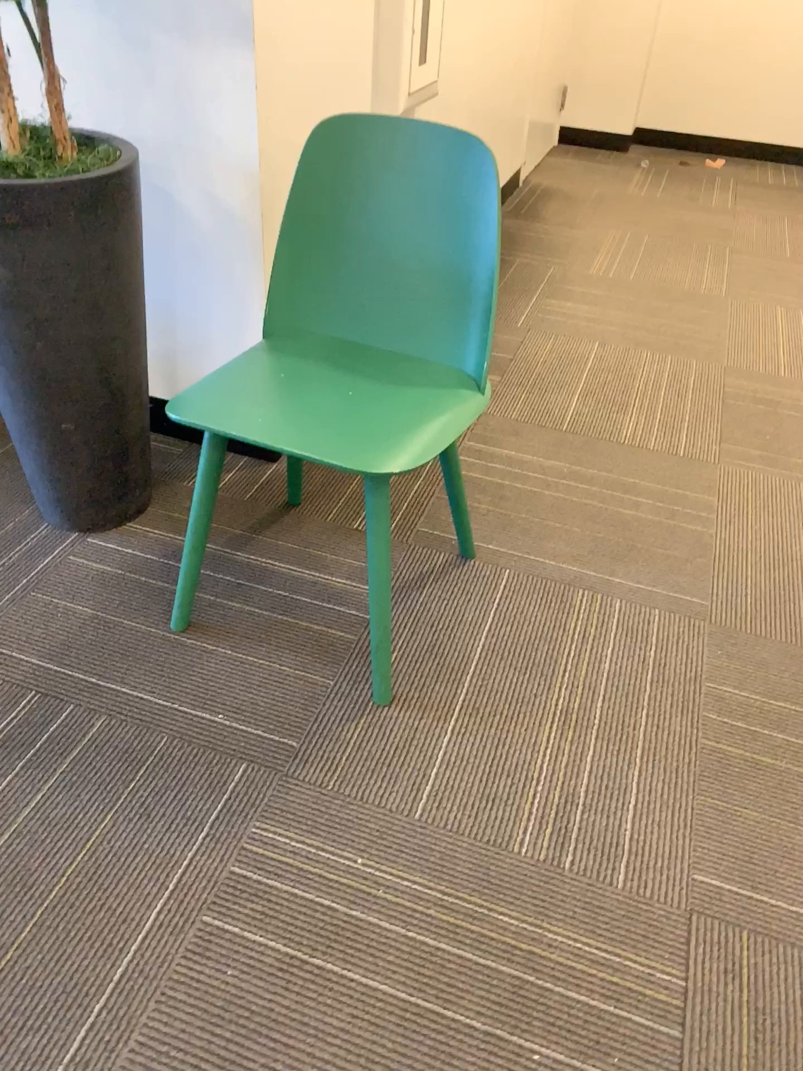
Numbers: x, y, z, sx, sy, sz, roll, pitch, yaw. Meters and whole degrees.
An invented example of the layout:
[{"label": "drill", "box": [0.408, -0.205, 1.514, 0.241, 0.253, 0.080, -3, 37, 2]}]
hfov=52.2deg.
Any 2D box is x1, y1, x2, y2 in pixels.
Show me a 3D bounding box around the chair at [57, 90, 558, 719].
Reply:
[{"label": "chair", "box": [-0.106, -0.226, 1.332, 0.481, 0.765, 0.543, 16, 39, 14]}]
